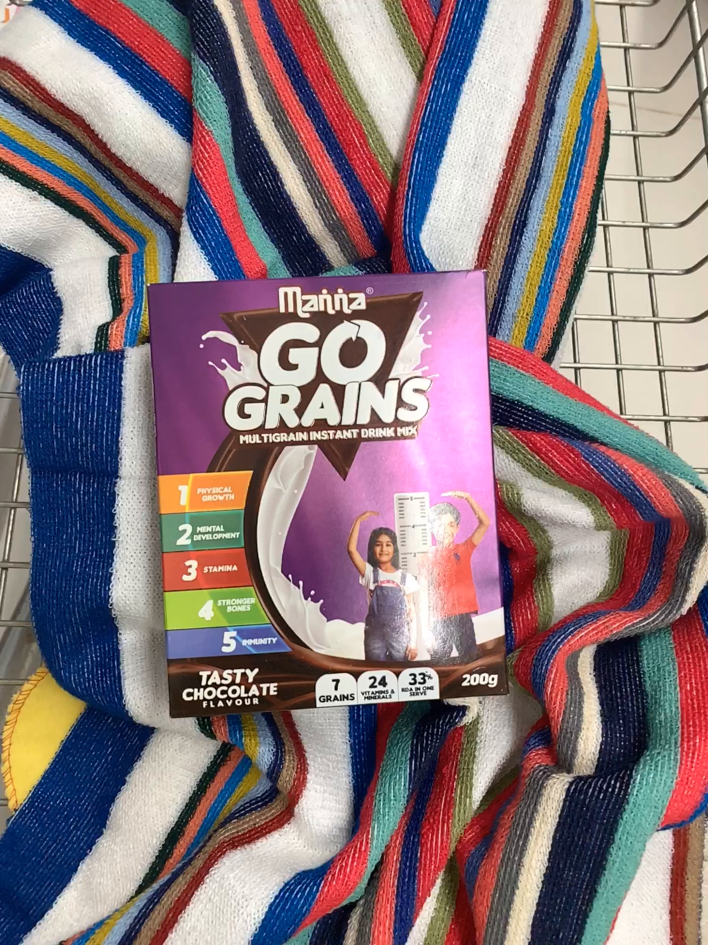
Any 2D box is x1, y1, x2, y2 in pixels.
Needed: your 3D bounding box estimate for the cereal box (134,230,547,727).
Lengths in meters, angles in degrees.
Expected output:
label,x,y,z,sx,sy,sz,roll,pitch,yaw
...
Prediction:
label,x,y,z,sx,sy,sz,roll,pitch,yaw
cereal box,-0.004,0.001,0.282,0.140,0.050,0.170,-2,92,-4
